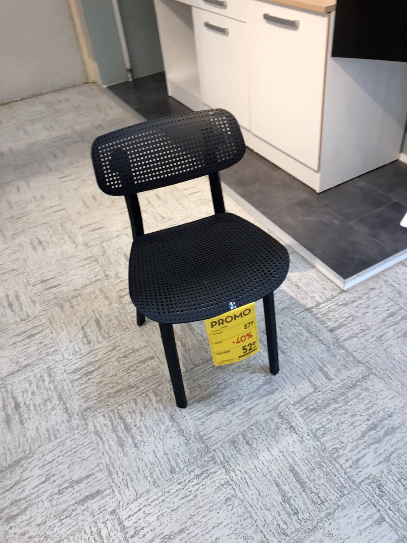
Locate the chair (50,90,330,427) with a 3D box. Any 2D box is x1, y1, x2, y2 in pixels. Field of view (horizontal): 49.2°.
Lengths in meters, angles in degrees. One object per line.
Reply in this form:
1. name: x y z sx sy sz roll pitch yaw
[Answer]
1. chair: -0.042 -0.046 1.298 0.541 0.686 0.522 -18 42 -12
